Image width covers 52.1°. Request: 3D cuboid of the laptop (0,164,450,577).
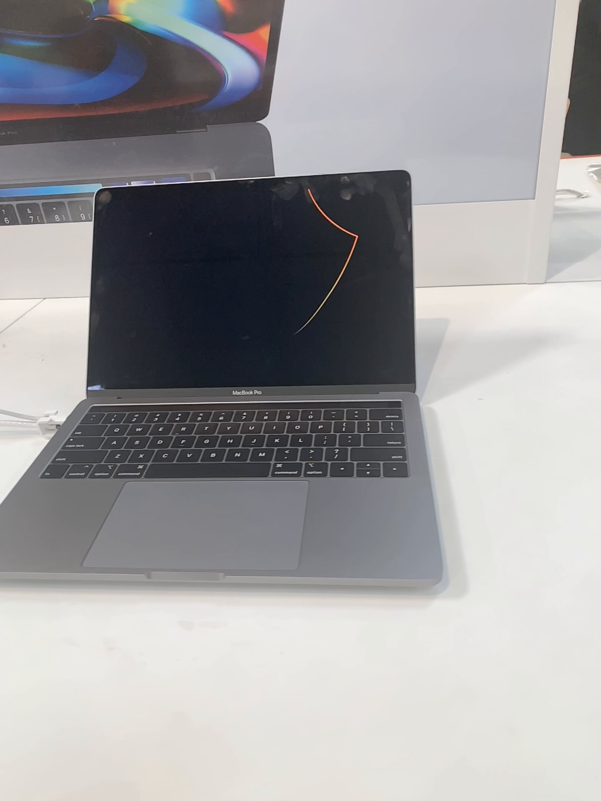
[{"bbox_3d":[-0.057,-0.050,0.447,0.284,0.150,0.316,-1,32,7],"label":"laptop"}]
